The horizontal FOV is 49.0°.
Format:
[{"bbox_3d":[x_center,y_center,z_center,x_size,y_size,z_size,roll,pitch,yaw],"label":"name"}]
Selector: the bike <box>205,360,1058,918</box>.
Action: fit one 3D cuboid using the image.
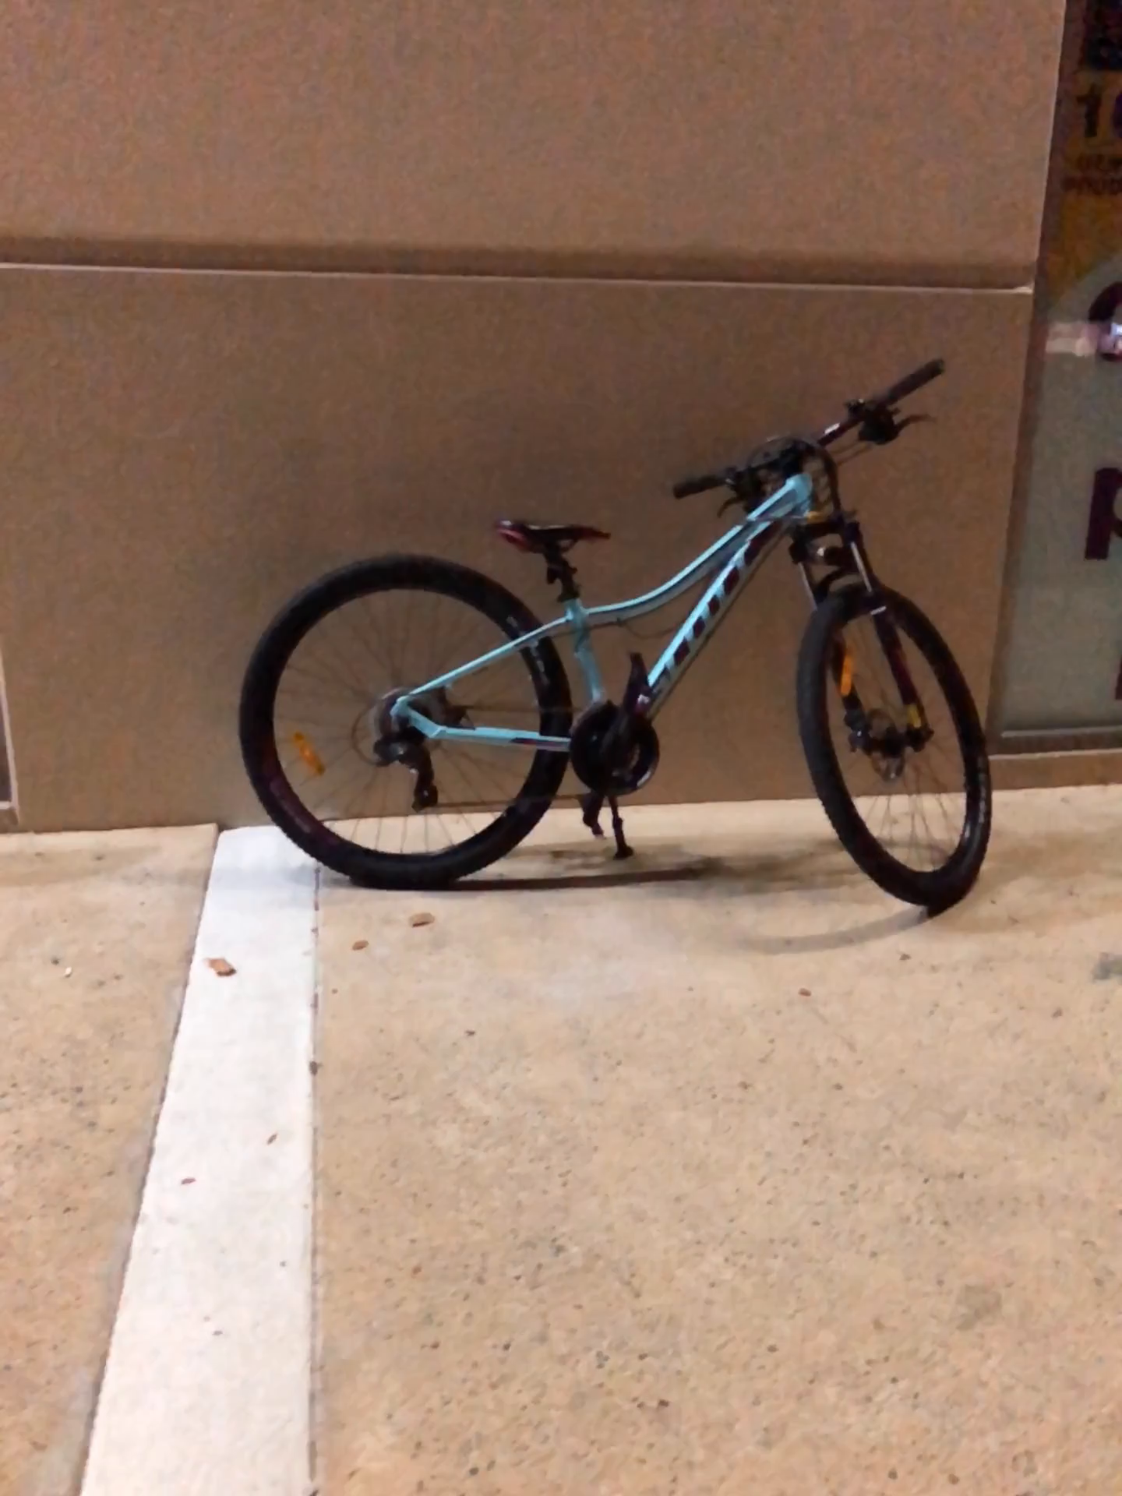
[{"bbox_3d":[0.158,-0.293,2.707,1.604,1.063,0.589,-2,17,-7],"label":"bike"}]
